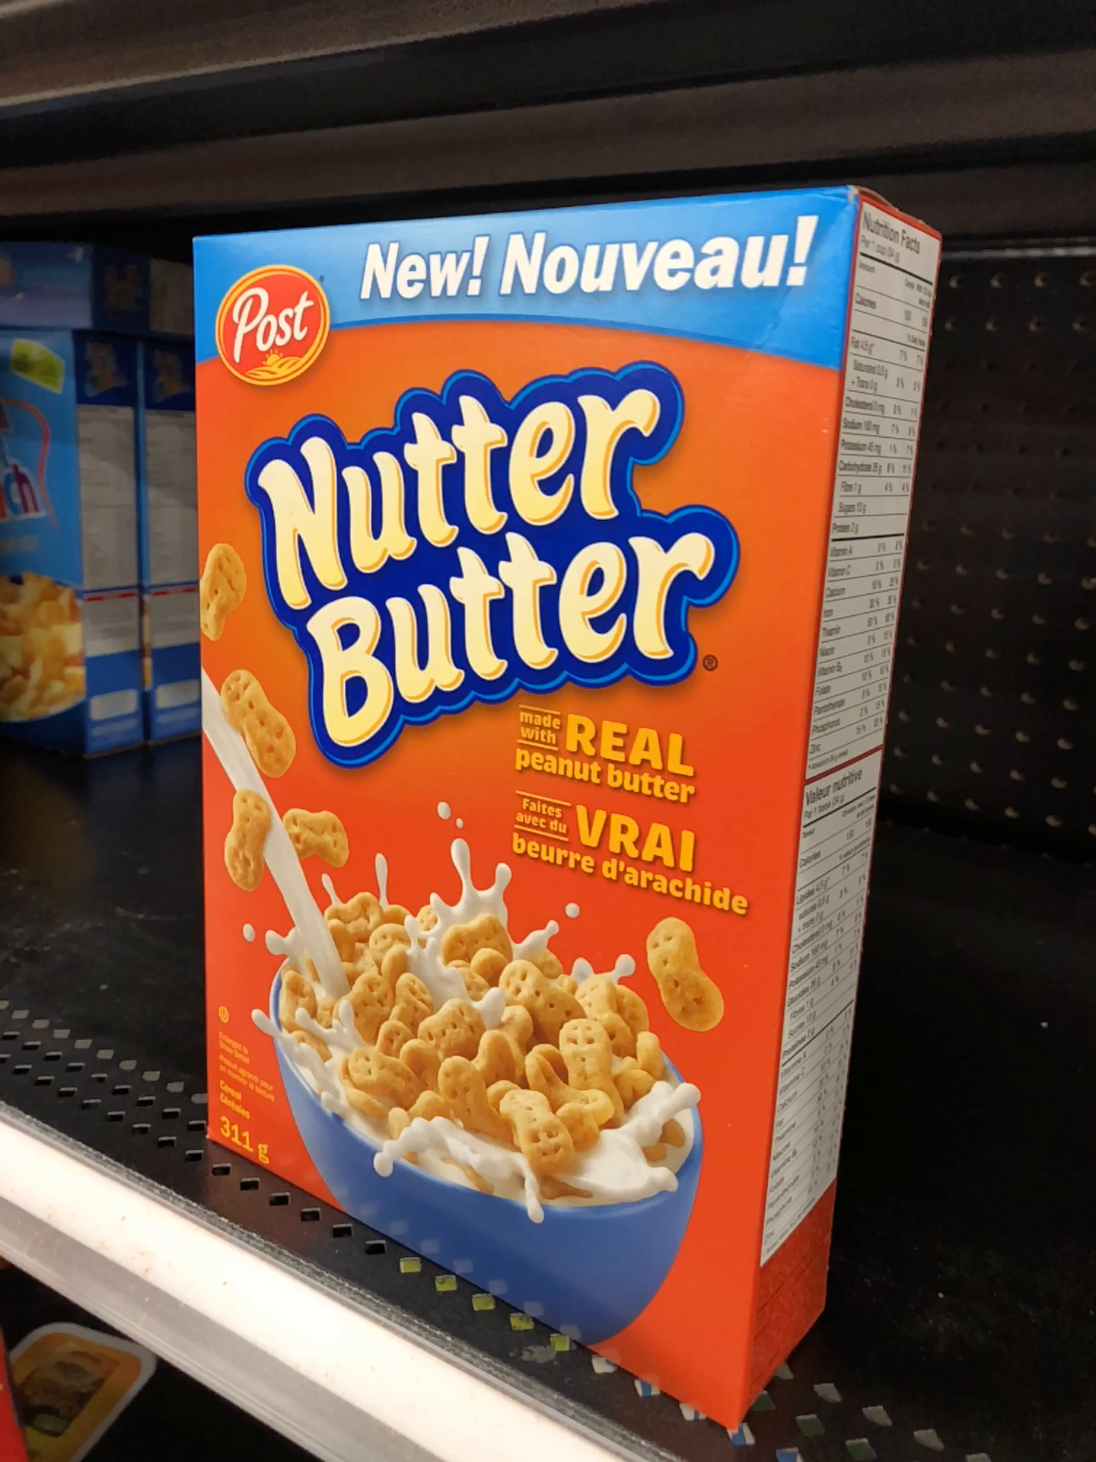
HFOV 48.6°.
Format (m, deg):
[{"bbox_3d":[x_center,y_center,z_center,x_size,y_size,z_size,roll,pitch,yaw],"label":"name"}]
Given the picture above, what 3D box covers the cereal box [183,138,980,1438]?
[{"bbox_3d":[-0.010,0.005,0.332,0.200,0.279,0.060,12,15,34],"label":"cereal box"}]
